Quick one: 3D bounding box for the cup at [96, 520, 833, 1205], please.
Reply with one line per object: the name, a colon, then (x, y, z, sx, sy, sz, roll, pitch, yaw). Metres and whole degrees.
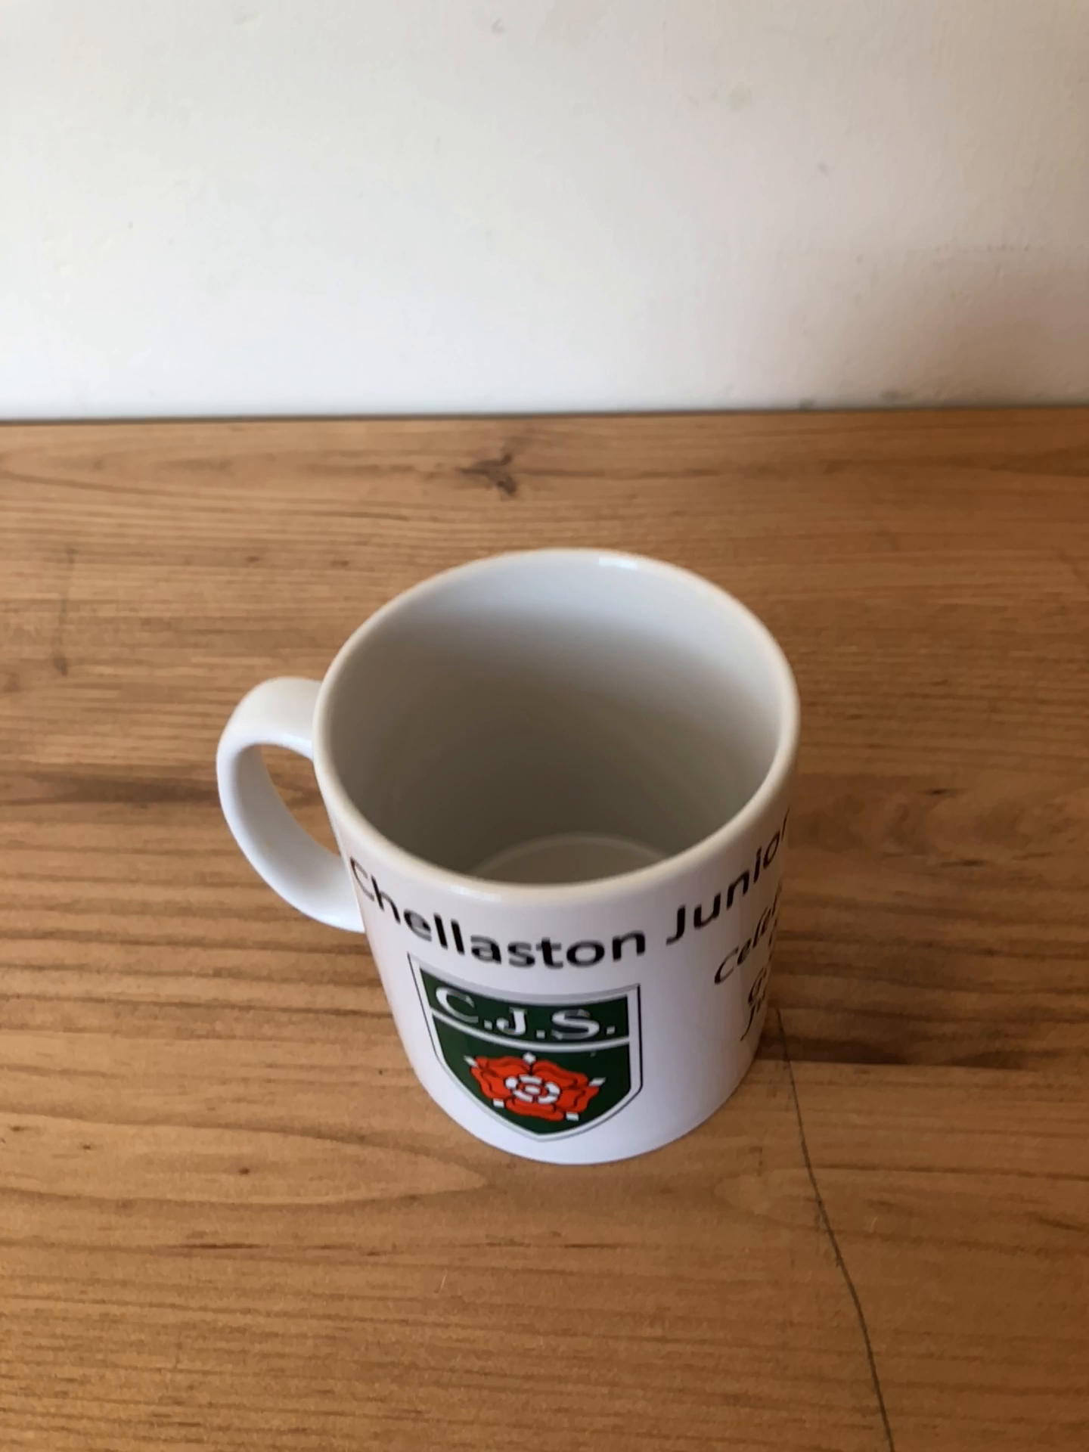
cup: (-0.003, 0.024, 0.242, 0.110, 0.096, 0.084, 4, 45, 14)
